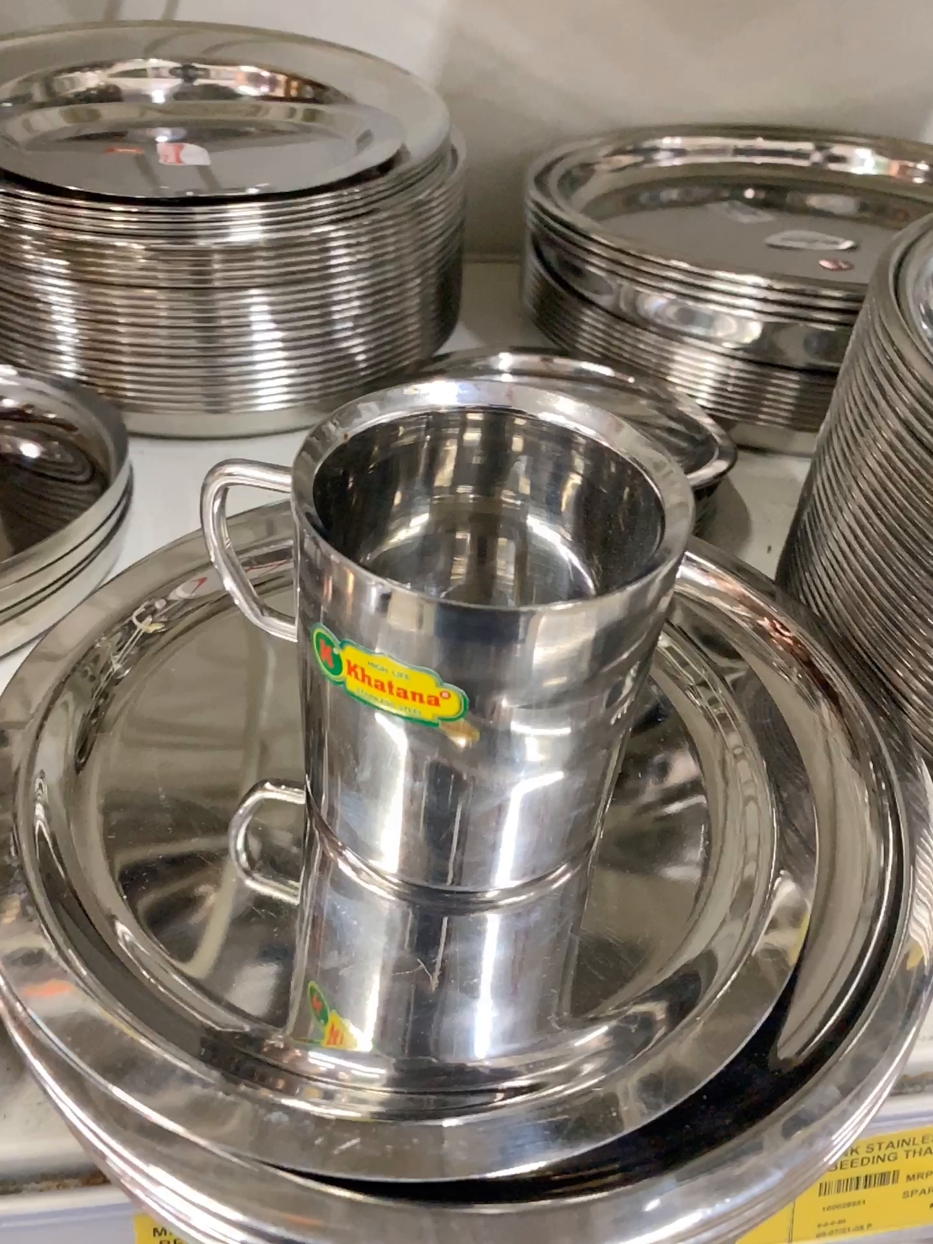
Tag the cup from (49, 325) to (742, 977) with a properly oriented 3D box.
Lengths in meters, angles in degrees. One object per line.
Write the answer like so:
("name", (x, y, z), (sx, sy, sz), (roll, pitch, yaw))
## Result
("cup", (-0.009, 0.003, 0.211), (0.110, 0.090, 0.080), (13, 41, 10))
